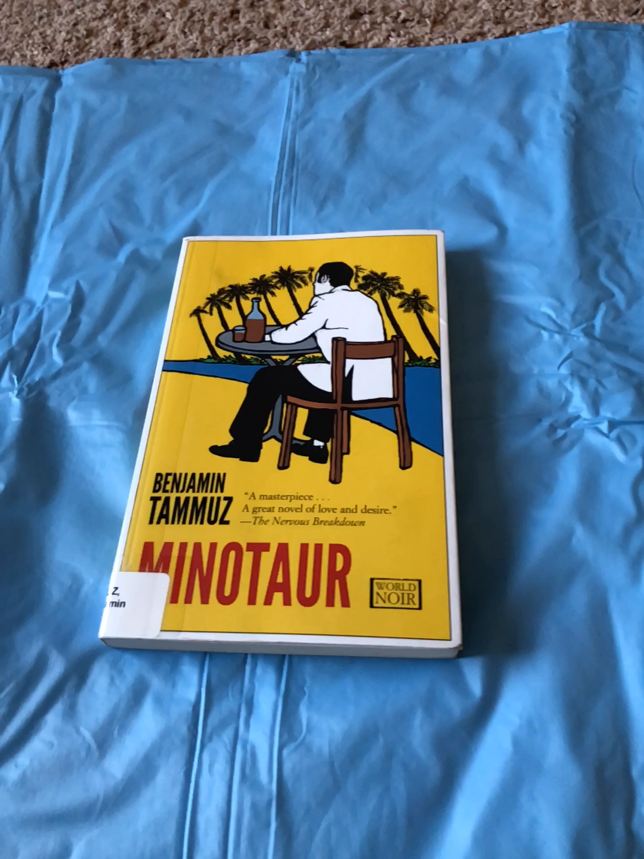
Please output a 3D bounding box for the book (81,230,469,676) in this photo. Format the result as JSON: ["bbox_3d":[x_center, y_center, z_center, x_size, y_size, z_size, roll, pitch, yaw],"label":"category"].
[{"bbox_3d":[-0.012,-0.004,0.325,0.142,0.027,0.212,0,59,5],"label":"book"}]
